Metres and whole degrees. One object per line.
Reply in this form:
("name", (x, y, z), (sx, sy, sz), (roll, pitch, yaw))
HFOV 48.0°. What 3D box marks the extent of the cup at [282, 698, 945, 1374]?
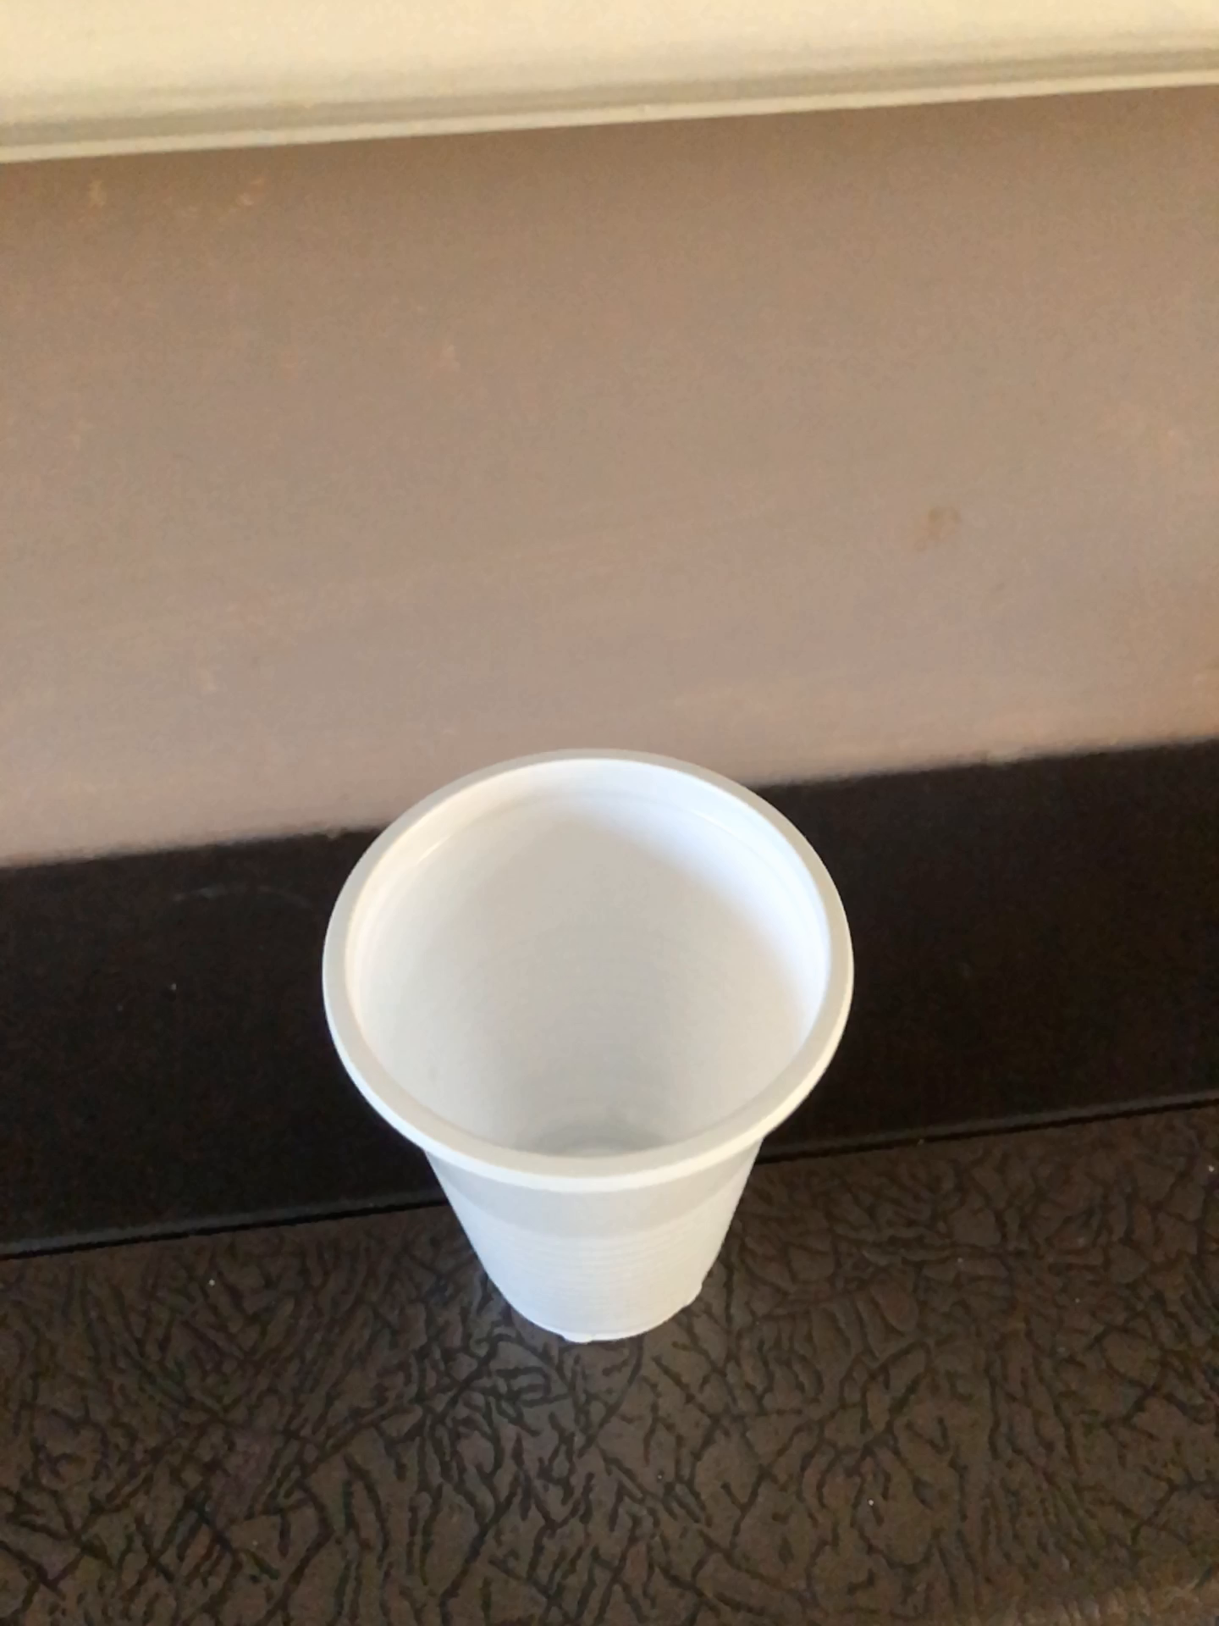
("cup", (-0.001, 0.036, 0.215), (0.079, 0.073, 0.073), (-1, 50, 1))
